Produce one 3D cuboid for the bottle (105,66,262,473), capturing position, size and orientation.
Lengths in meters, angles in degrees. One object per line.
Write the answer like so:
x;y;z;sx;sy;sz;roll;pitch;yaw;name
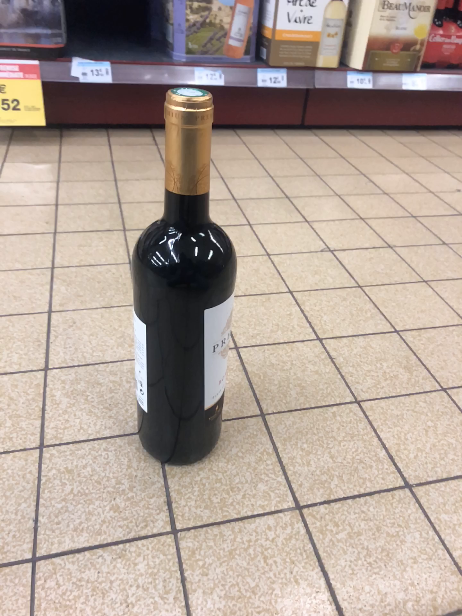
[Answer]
-0.034;-0.011;0.377;0.080;0.288;0.091;5;34;-1;bottle
